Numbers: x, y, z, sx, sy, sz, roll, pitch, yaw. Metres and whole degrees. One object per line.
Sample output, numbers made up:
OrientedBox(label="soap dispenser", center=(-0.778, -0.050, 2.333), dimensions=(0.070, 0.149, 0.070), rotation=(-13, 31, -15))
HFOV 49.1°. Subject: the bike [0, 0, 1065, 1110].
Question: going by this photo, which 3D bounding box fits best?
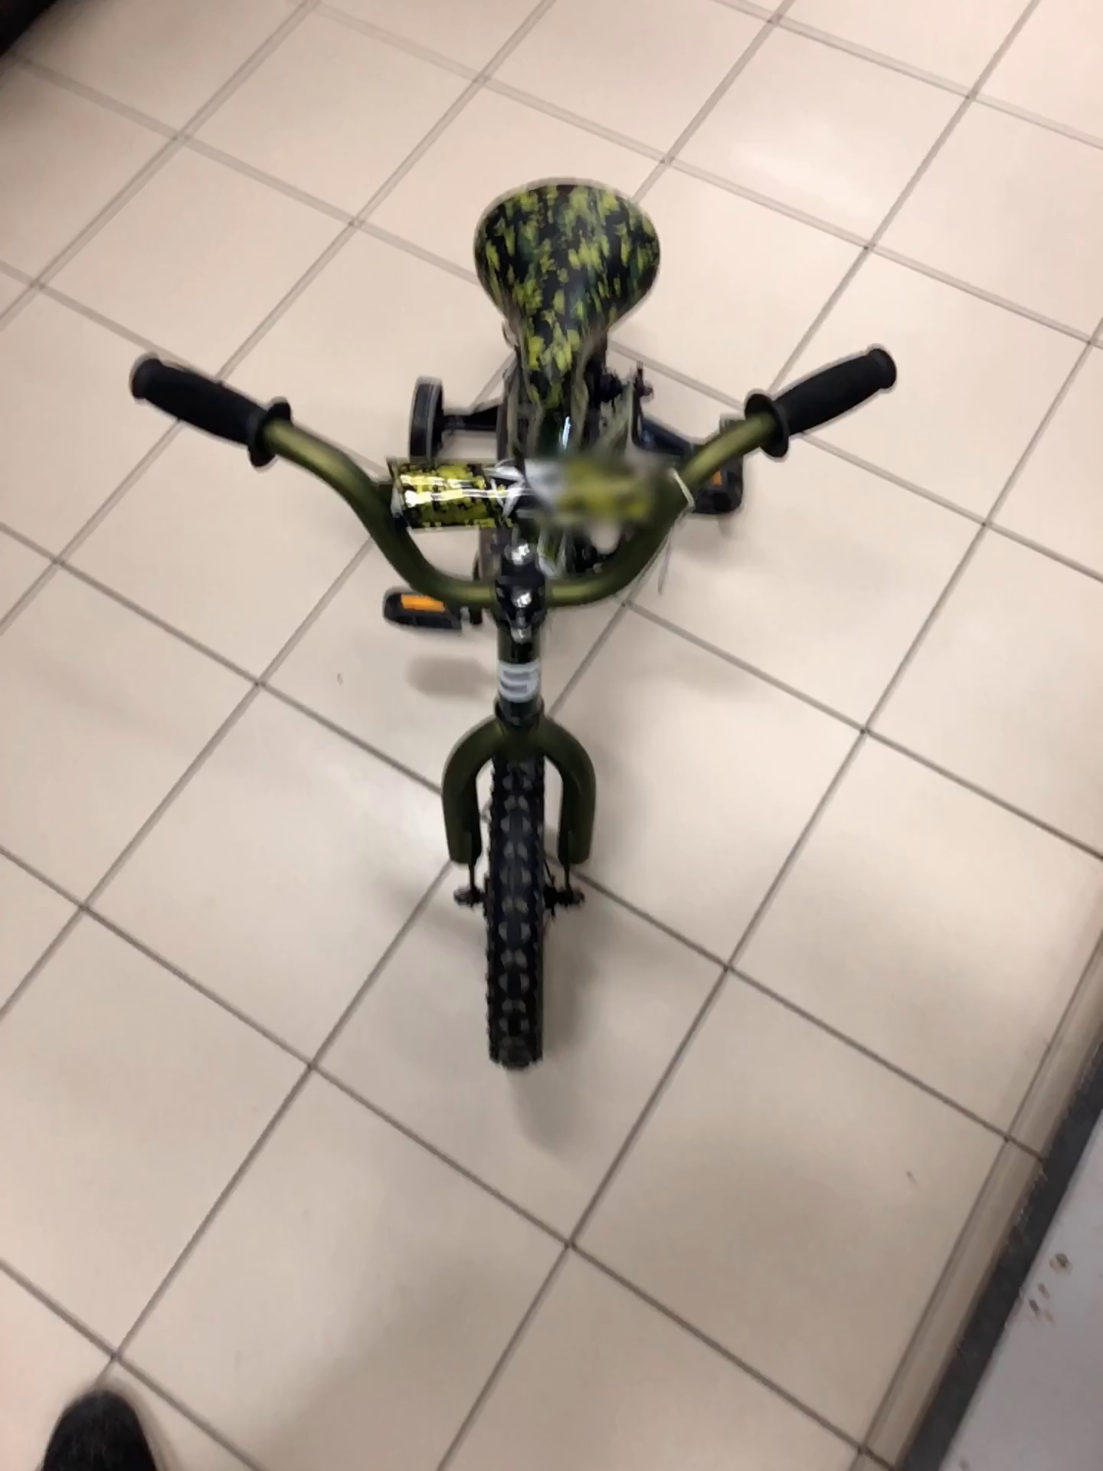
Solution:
OrientedBox(label="bike", center=(0.011, -0.160, 1.005), dimensions=(0.532, 0.557, 0.818), rotation=(3, 66, 4))
